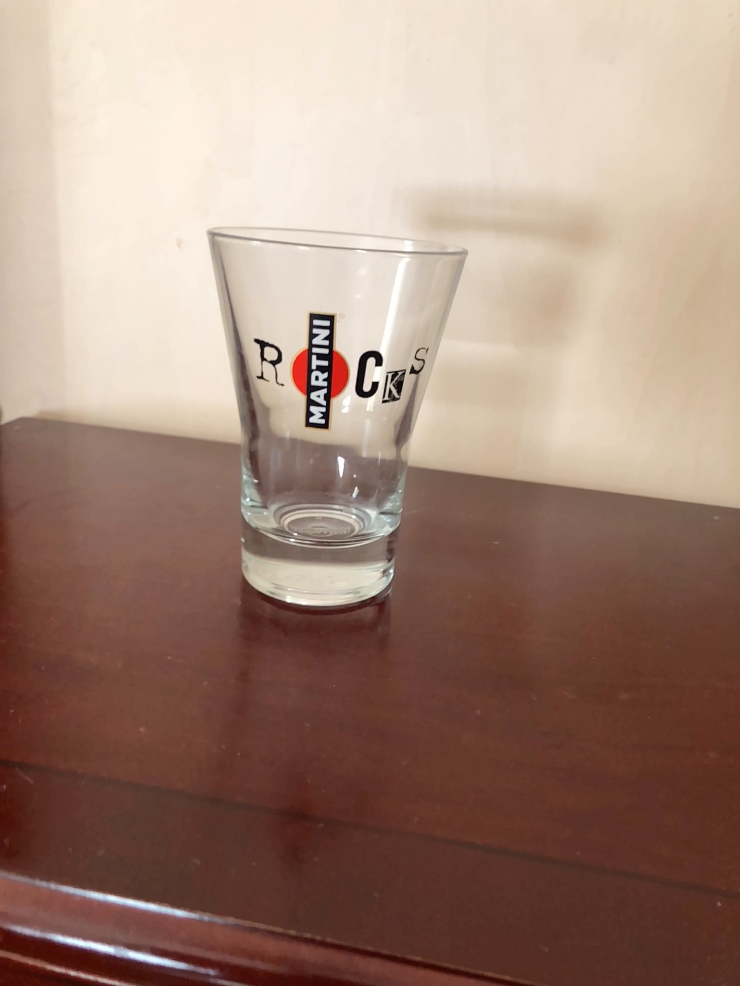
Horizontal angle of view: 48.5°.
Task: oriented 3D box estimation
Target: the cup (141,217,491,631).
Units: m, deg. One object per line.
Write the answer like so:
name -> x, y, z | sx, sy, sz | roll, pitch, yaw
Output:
cup -> -0.015, -0.033, 0.294 | 0.094, 0.118, 0.095 | 4, 19, -1
